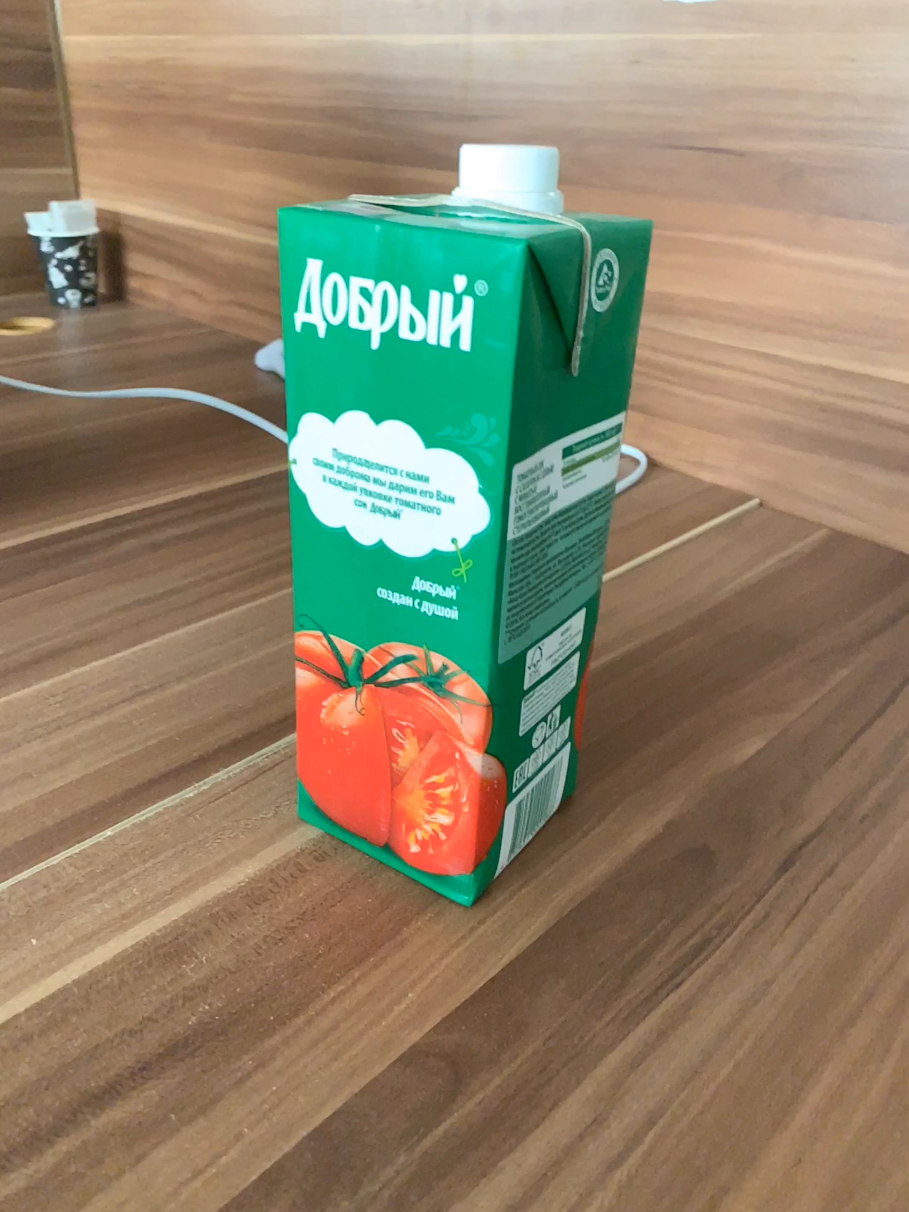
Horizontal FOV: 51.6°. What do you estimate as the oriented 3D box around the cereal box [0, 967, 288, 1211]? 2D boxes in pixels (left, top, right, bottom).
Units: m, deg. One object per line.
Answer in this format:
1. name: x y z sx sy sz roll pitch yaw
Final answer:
1. cereal box: -0.420 0.651 0.213 0.590 0.836 0.613 4 28 3
